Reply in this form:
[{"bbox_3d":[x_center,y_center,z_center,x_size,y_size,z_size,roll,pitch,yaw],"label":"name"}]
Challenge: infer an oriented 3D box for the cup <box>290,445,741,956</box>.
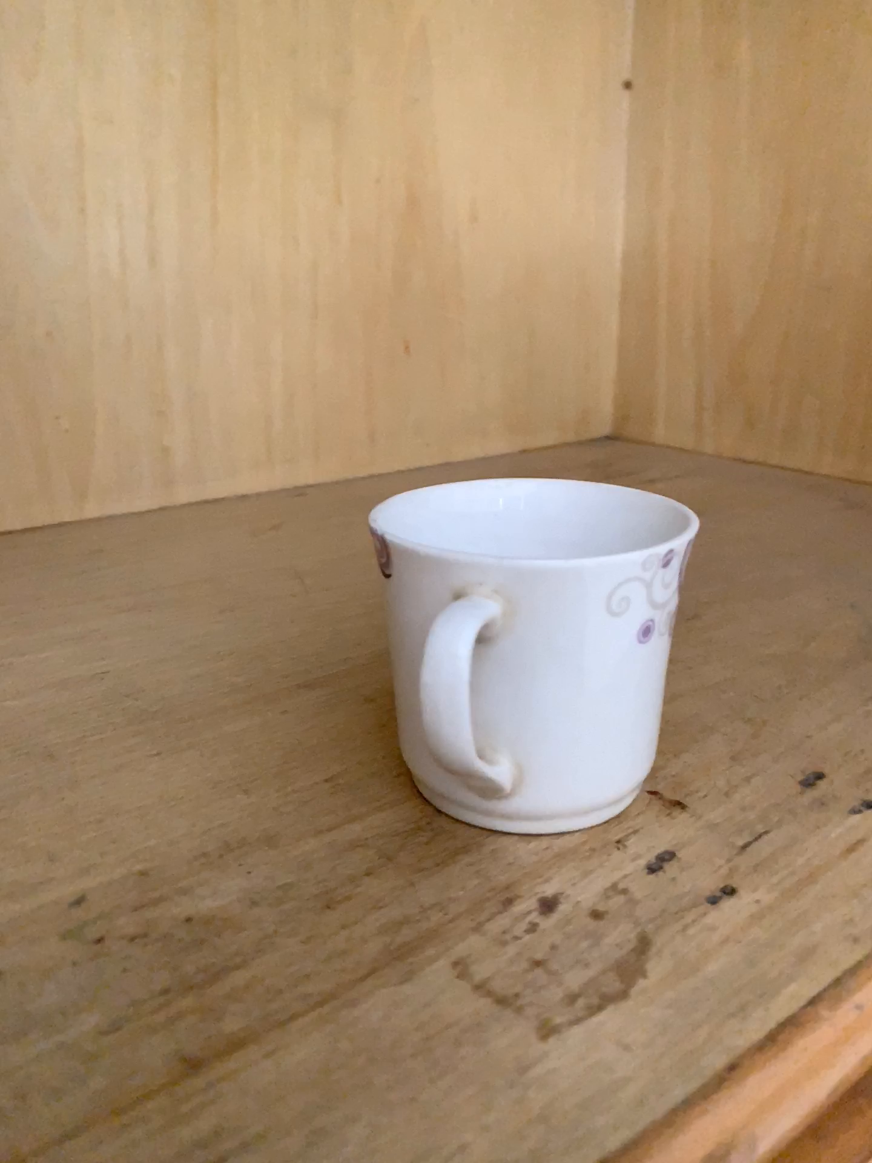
[{"bbox_3d":[0.024,0.015,0.200,0.070,0.070,0.090,7,20,21],"label":"cup"}]
